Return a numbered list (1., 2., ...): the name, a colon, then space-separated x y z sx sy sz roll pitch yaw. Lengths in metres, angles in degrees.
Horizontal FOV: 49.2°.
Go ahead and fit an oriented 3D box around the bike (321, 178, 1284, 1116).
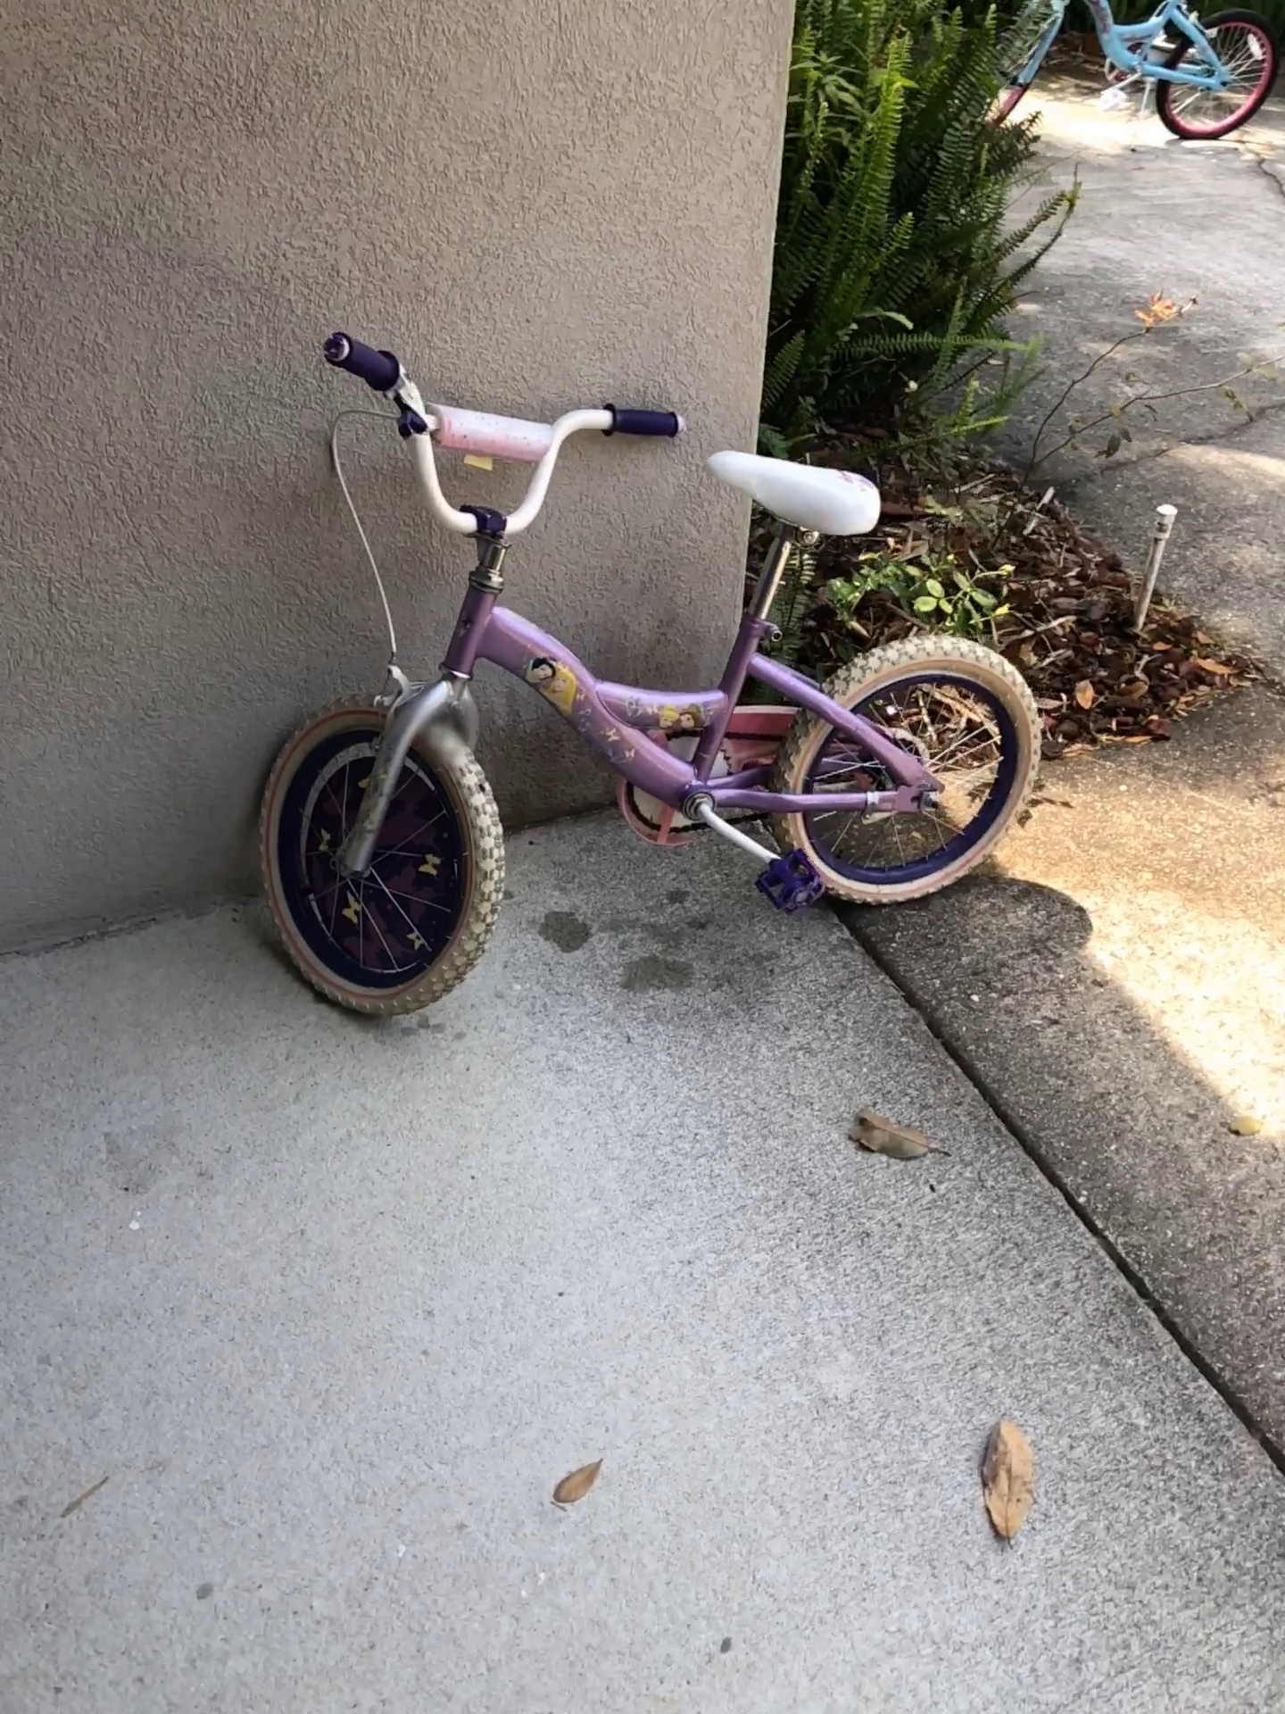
1. bike: 0.114 -0.276 1.702 0.846 0.816 0.619 -9 41 -13
